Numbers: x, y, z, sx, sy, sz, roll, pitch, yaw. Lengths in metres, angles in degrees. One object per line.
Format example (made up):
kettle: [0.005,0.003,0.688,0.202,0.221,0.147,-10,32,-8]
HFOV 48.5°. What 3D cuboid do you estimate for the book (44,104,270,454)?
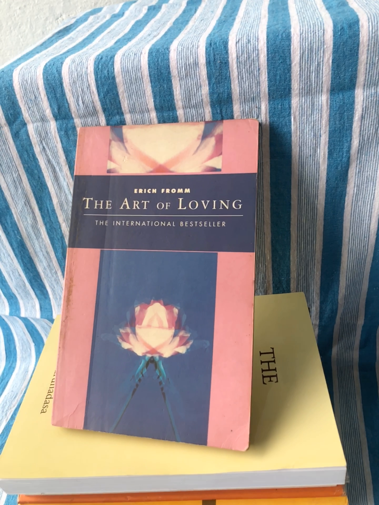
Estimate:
book: [-0.019,0.009,0.255,0.129,0.015,0.193,0,81,15]
